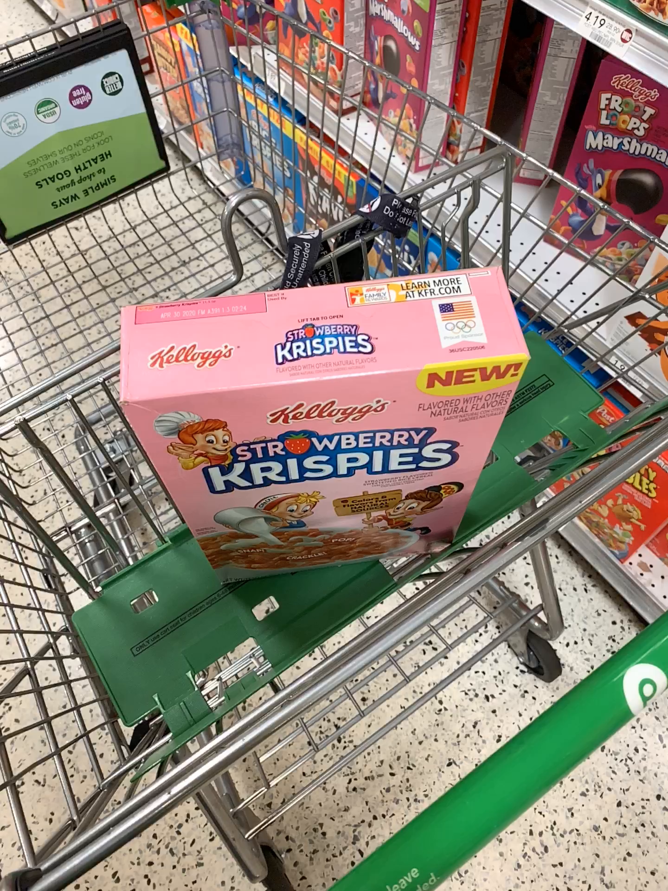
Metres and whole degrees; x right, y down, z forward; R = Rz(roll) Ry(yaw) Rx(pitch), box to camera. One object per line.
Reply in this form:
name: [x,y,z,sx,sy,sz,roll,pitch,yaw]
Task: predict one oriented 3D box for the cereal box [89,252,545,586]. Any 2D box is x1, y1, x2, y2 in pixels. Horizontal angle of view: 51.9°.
cereal box: [-0.010,0.009,0.460,0.210,0.298,0.060,-7,63,-4]
